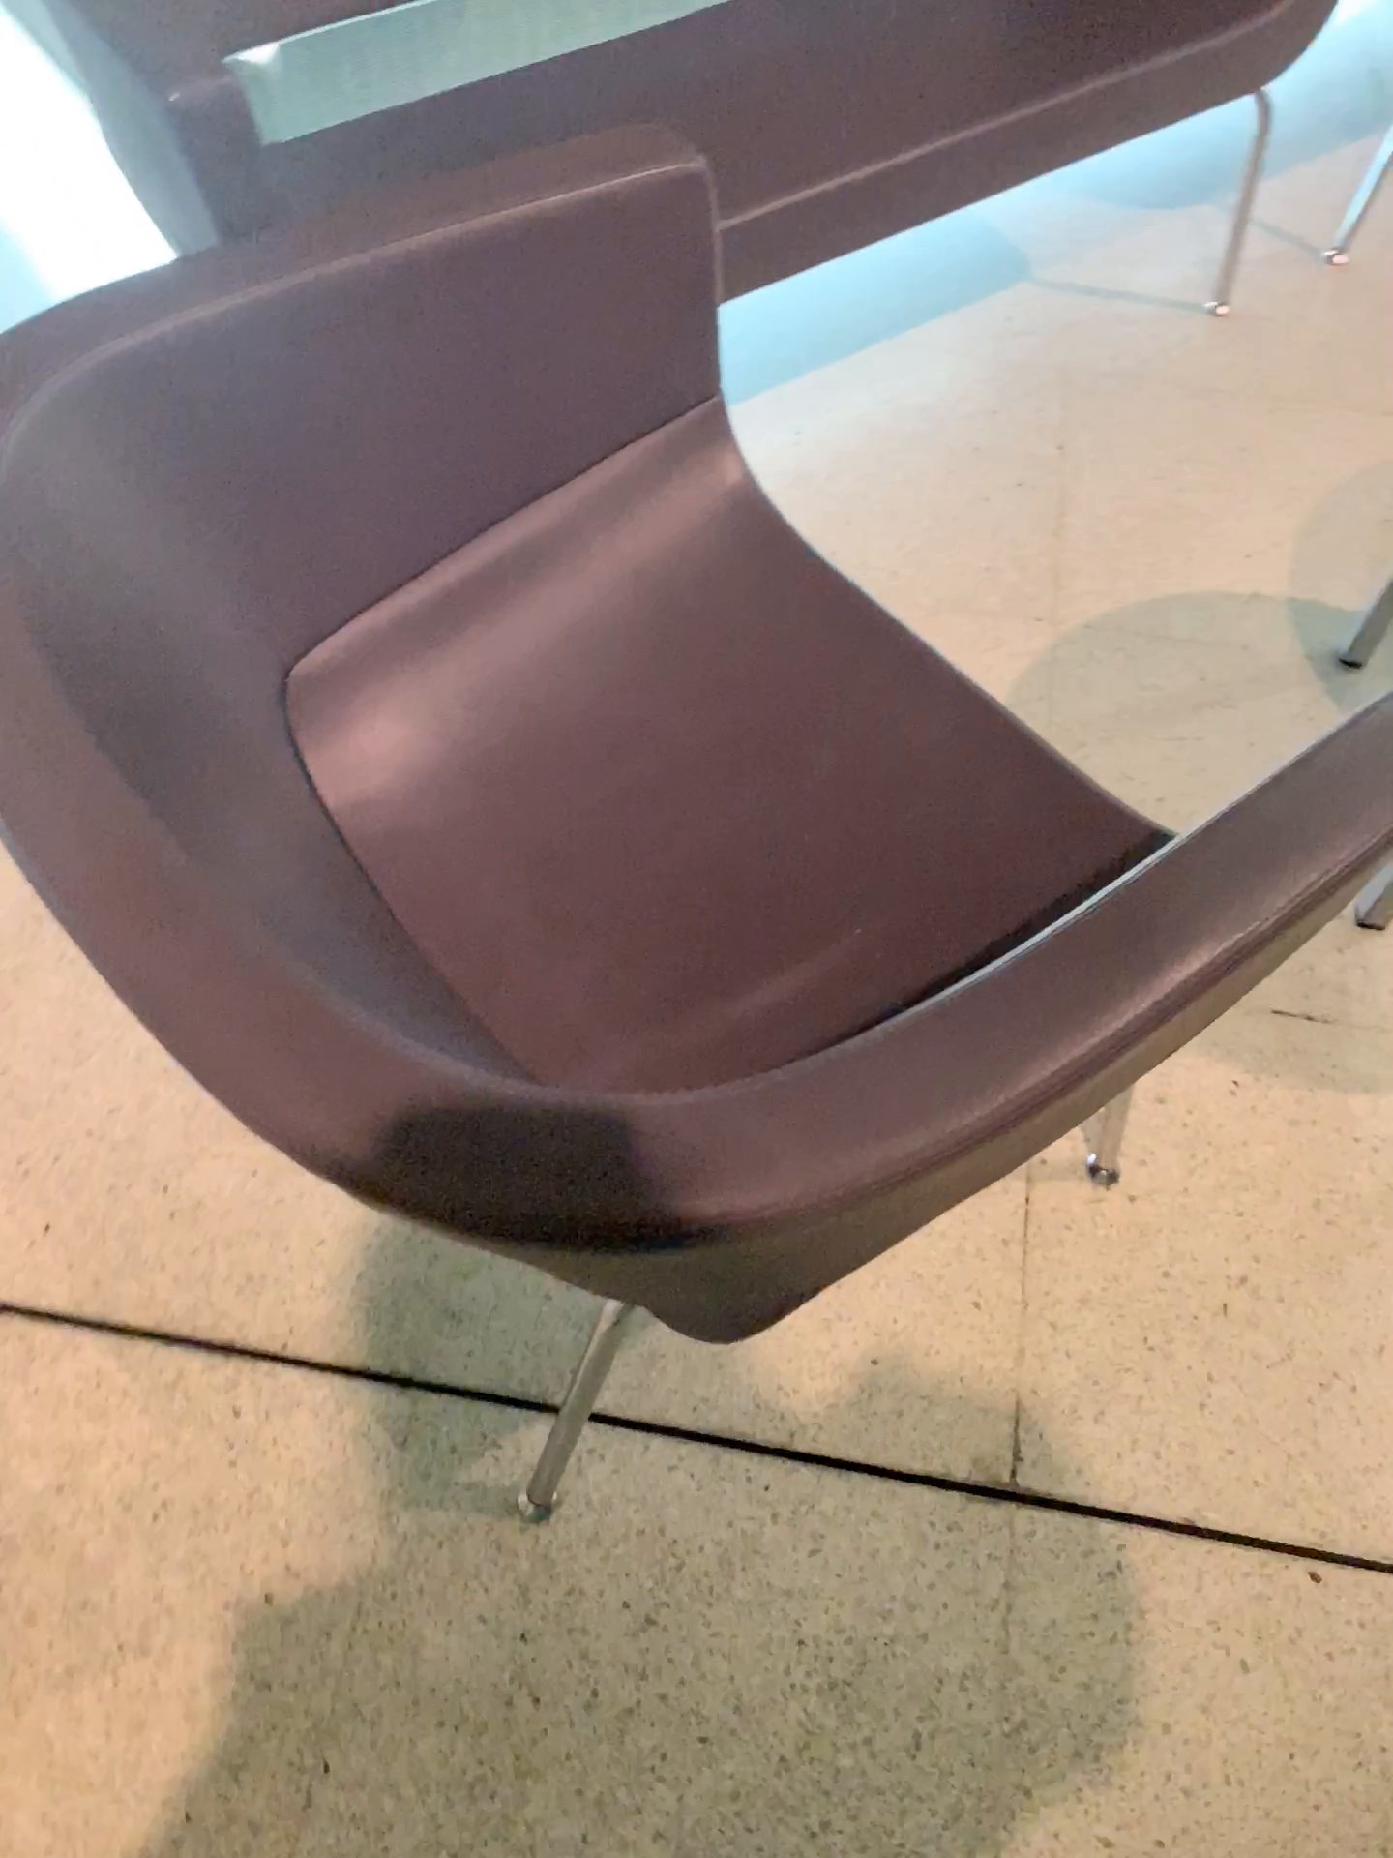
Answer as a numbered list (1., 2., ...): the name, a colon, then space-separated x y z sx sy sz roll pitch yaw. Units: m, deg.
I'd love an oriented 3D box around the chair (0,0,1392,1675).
1. chair: -0.037 -0.082 1.031 0.752 0.714 0.734 -31 62 -20
